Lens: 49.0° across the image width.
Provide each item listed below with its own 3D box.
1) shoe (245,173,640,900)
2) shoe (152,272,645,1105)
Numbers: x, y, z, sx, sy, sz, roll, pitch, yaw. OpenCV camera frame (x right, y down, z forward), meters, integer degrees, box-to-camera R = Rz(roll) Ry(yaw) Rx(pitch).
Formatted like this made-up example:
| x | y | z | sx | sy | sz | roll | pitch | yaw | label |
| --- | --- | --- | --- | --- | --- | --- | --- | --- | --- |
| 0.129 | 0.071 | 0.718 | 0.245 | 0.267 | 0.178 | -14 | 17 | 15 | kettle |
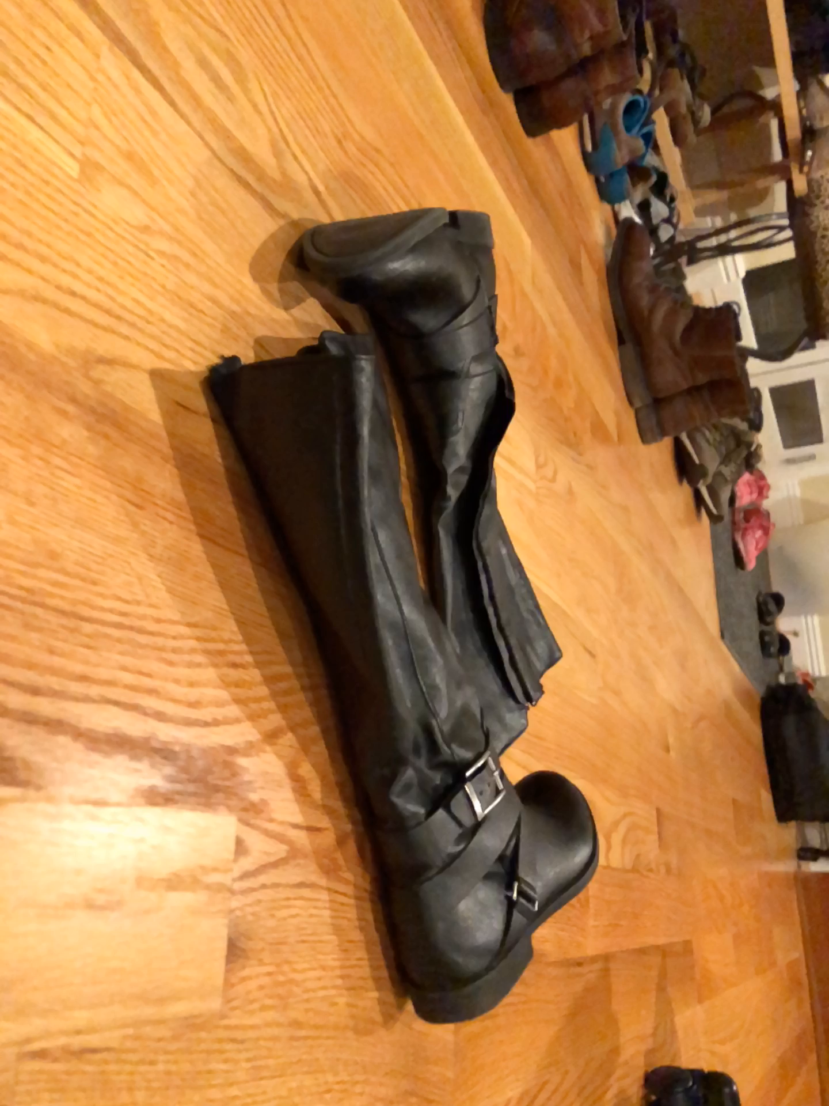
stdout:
| x | y | z | sx | sy | sz | roll | pitch | yaw | label |
| --- | --- | --- | --- | --- | --- | --- | --- | --- | --- |
| 0.045 | -0.018 | 0.609 | 0.251 | 0.094 | 0.393 | -29 | 107 | -64 | shoe |
| 0.028 | 0.054 | 0.550 | 0.292 | 0.104 | 0.403 | -32 | 111 | -63 | shoe |
